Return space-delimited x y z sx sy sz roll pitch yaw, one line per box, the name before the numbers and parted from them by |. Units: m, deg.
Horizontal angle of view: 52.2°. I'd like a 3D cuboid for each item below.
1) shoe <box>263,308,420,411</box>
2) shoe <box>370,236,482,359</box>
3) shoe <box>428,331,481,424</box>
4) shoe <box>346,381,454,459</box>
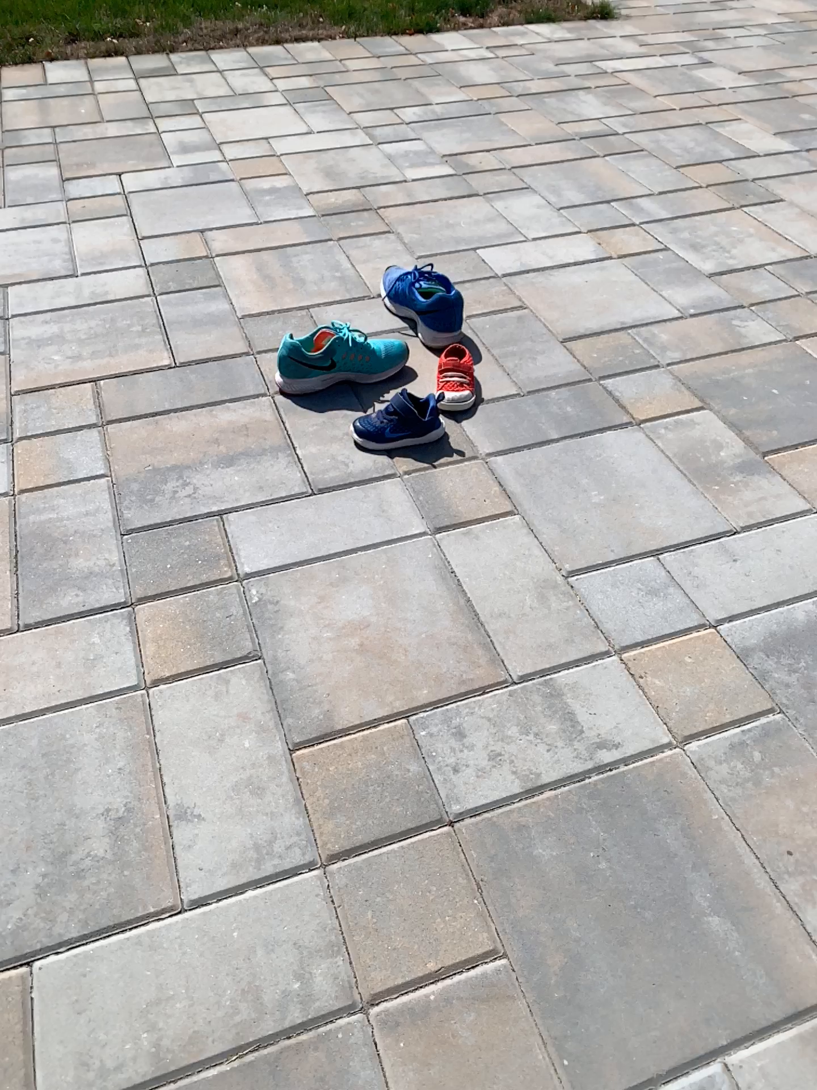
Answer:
shoe | -0.113 -0.316 1.414 0.240 0.100 0.101 -13 46 -15
shoe | 0.026 -0.464 1.548 0.110 0.109 0.241 -17 47 -19
shoe | 0.076 -0.281 1.392 0.080 0.080 0.151 3 44 1
shoe | -0.015 -0.195 1.291 0.150 0.070 0.080 -8 45 -11
